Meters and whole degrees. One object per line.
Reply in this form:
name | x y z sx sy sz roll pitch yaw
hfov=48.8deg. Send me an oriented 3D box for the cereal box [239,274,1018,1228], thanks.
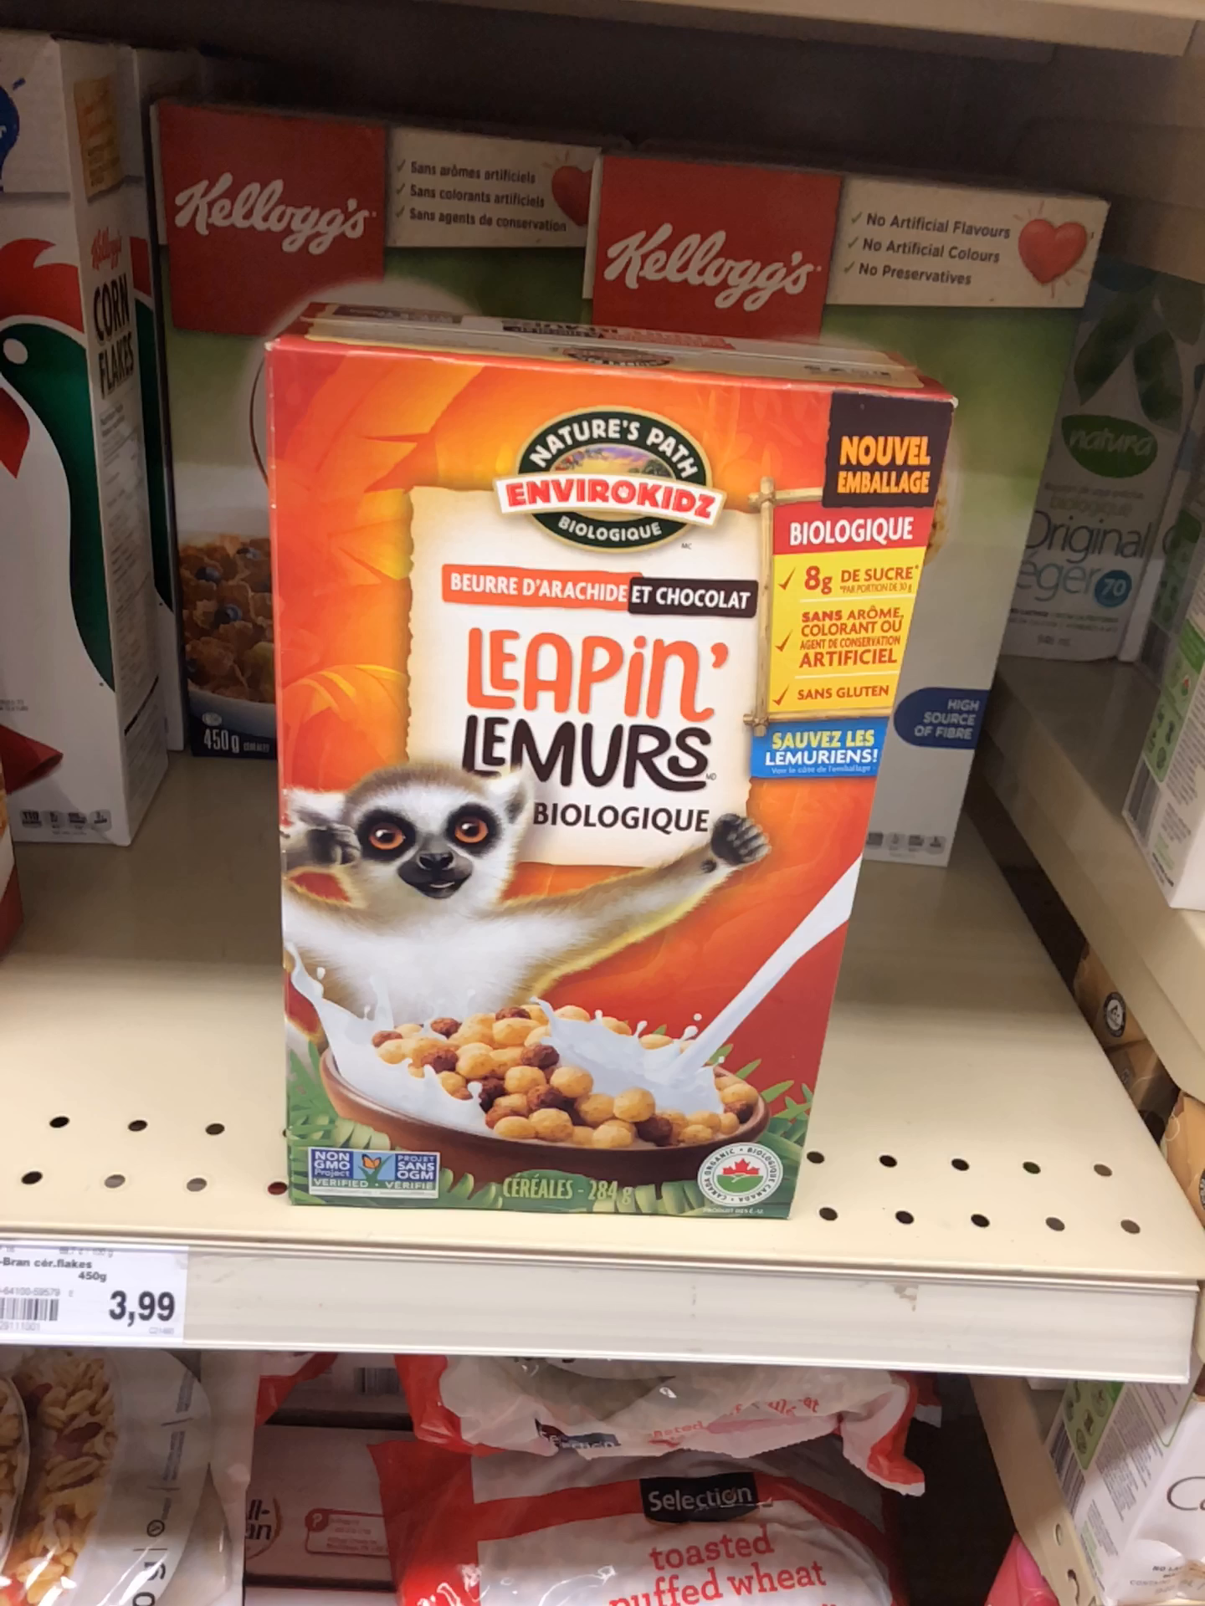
cereal box | -0.005 -0.002 0.380 0.170 0.258 0.071 3 28 -4
